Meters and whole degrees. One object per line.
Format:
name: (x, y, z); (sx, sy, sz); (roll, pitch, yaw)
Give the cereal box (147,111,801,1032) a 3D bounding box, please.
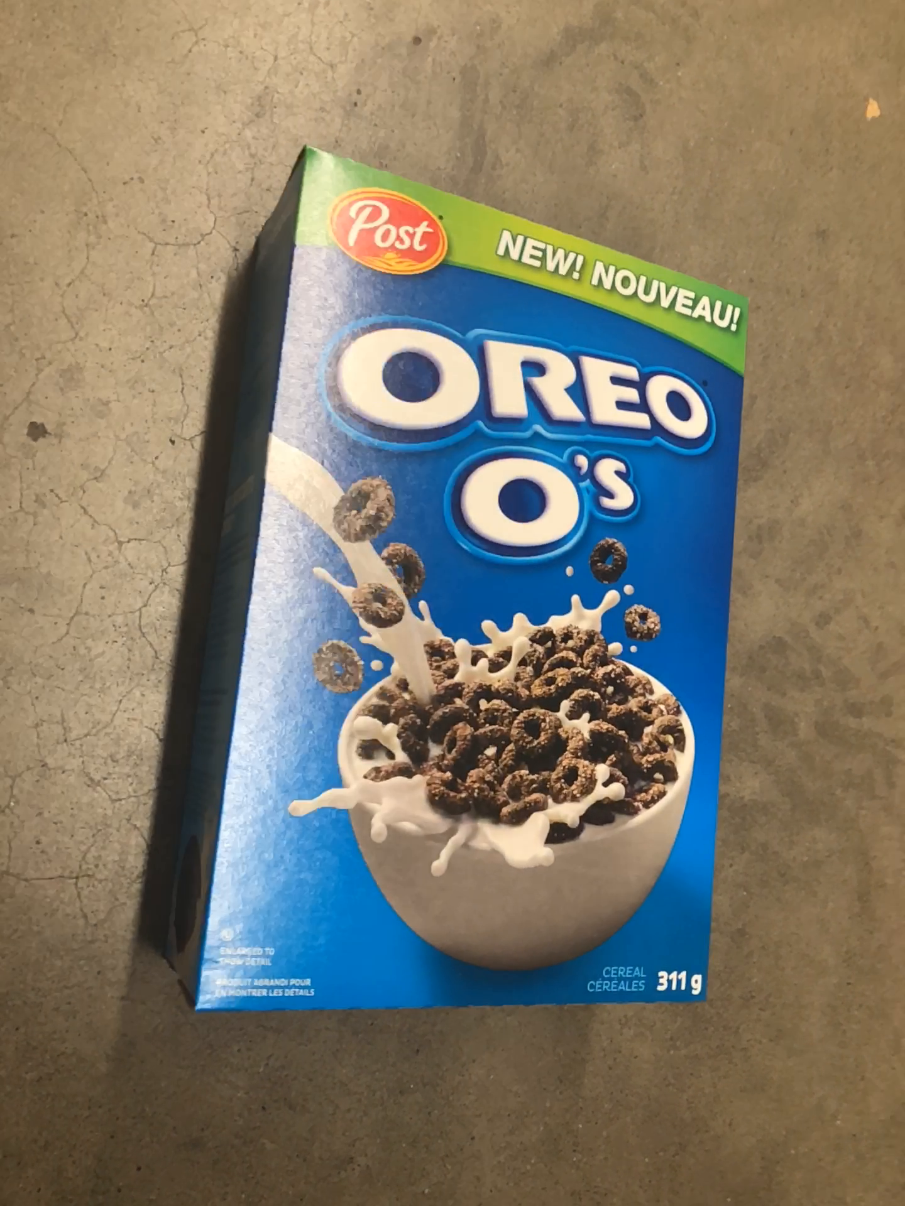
cereal box: (0.018, -0.001, 0.371); (0.210, 0.070, 0.280); (9, 81, -23)
